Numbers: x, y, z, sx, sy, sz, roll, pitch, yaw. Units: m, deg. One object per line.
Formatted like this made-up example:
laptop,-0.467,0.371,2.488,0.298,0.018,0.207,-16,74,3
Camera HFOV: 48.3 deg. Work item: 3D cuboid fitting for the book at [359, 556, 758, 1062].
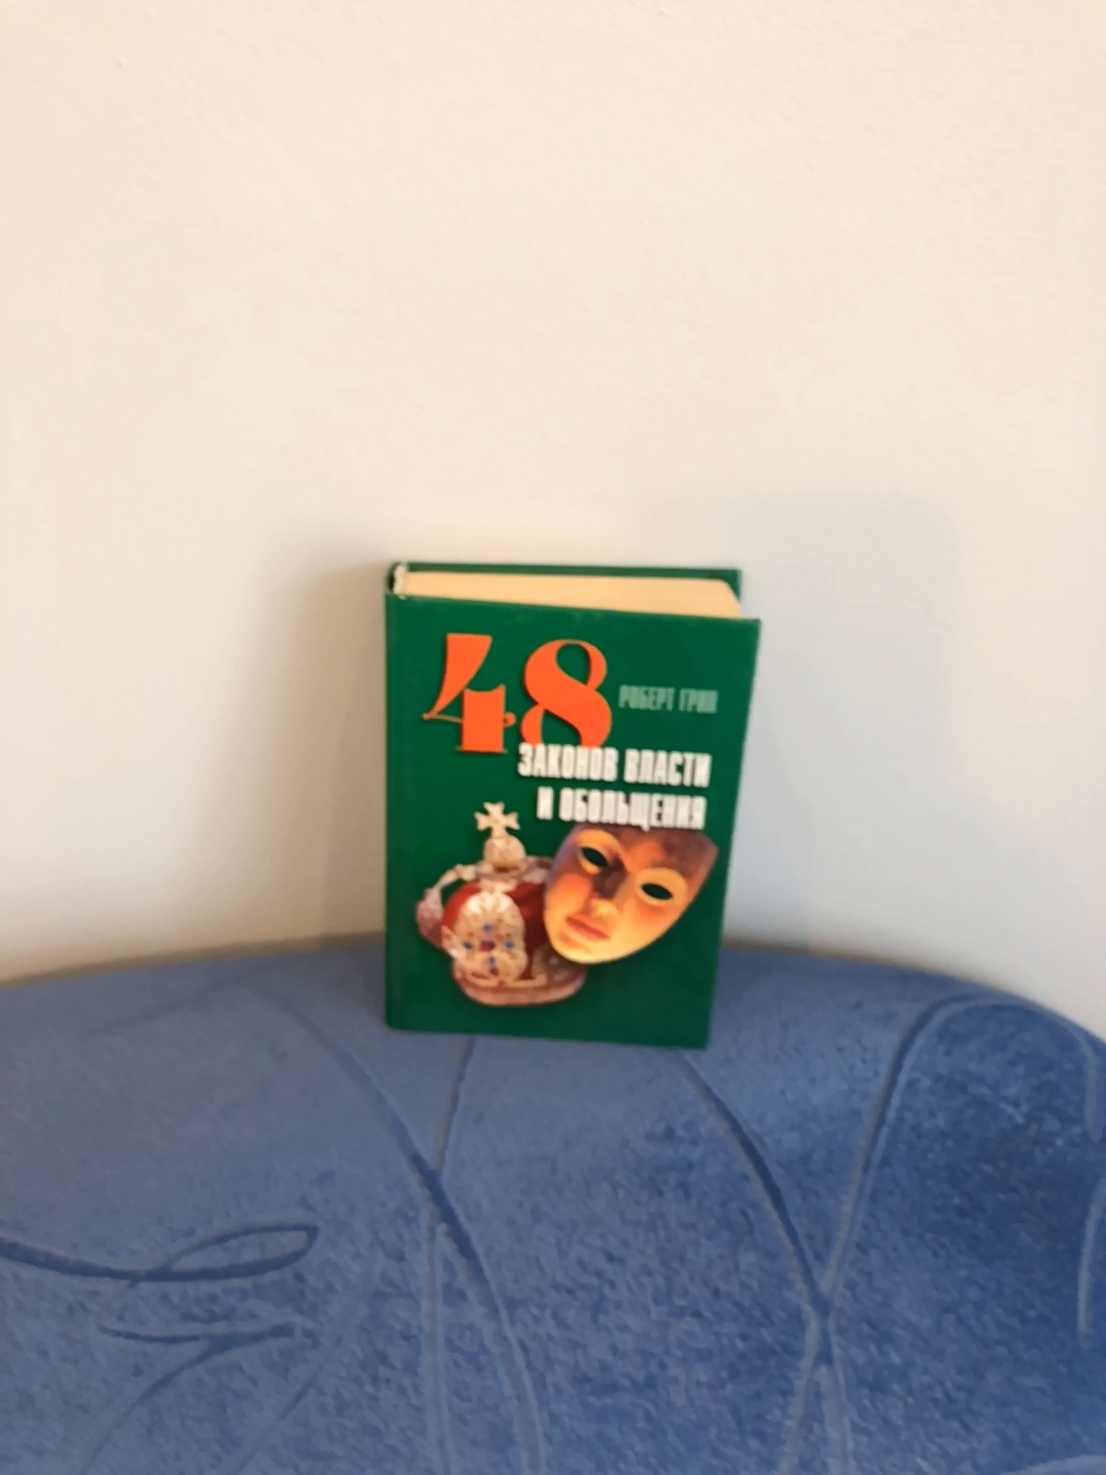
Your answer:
book,0.001,0.022,0.379,0.106,0.141,0.050,3,24,4
